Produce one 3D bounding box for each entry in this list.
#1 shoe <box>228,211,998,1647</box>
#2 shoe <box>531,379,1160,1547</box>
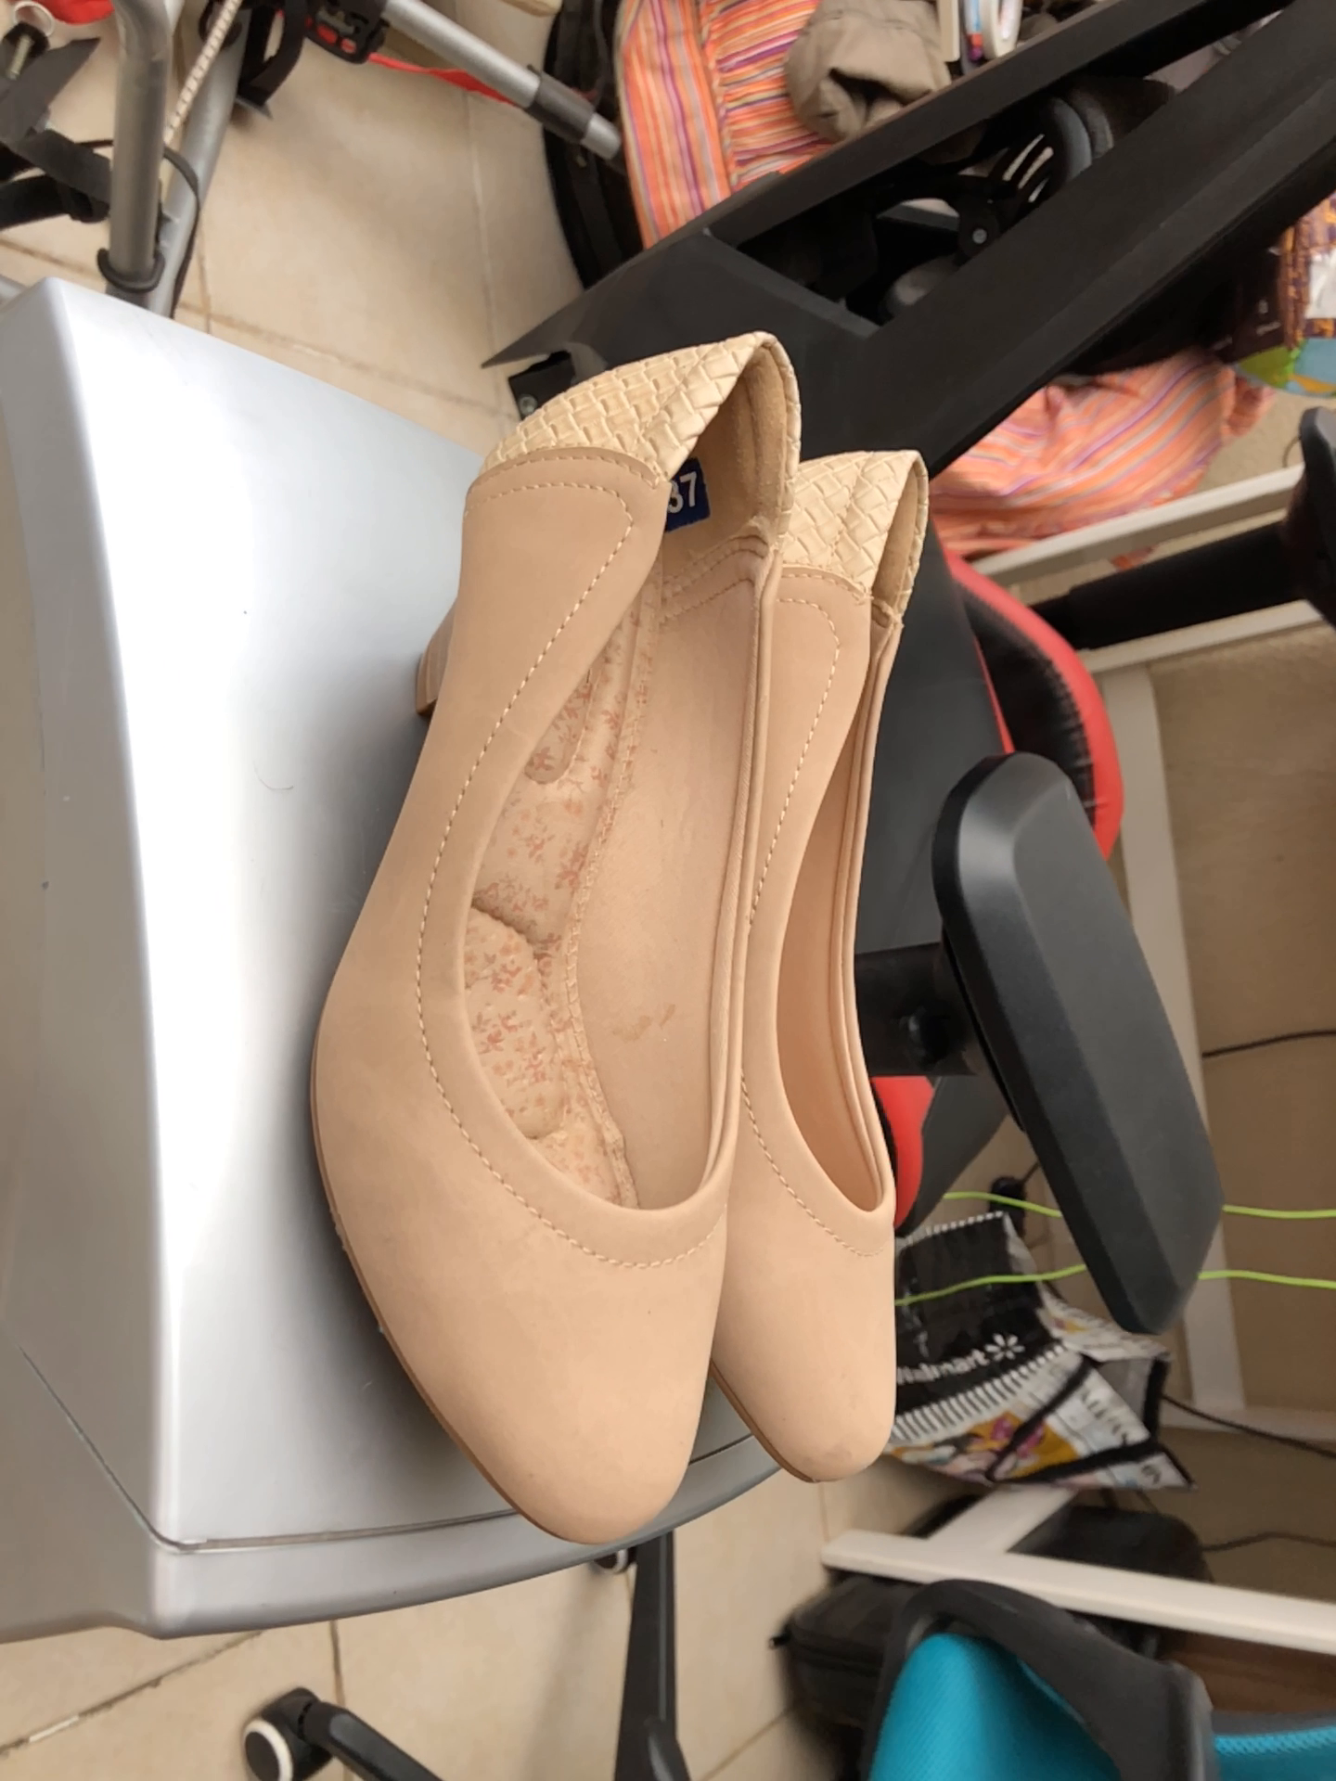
[{"bbox_3d":[-0.008,0.009,0.315,0.091,0.119,0.244,18,69,-50],"label":"shoe"},{"bbox_3d":[0.041,0.020,0.377,0.091,0.119,0.244,11,74,-52],"label":"shoe"}]
